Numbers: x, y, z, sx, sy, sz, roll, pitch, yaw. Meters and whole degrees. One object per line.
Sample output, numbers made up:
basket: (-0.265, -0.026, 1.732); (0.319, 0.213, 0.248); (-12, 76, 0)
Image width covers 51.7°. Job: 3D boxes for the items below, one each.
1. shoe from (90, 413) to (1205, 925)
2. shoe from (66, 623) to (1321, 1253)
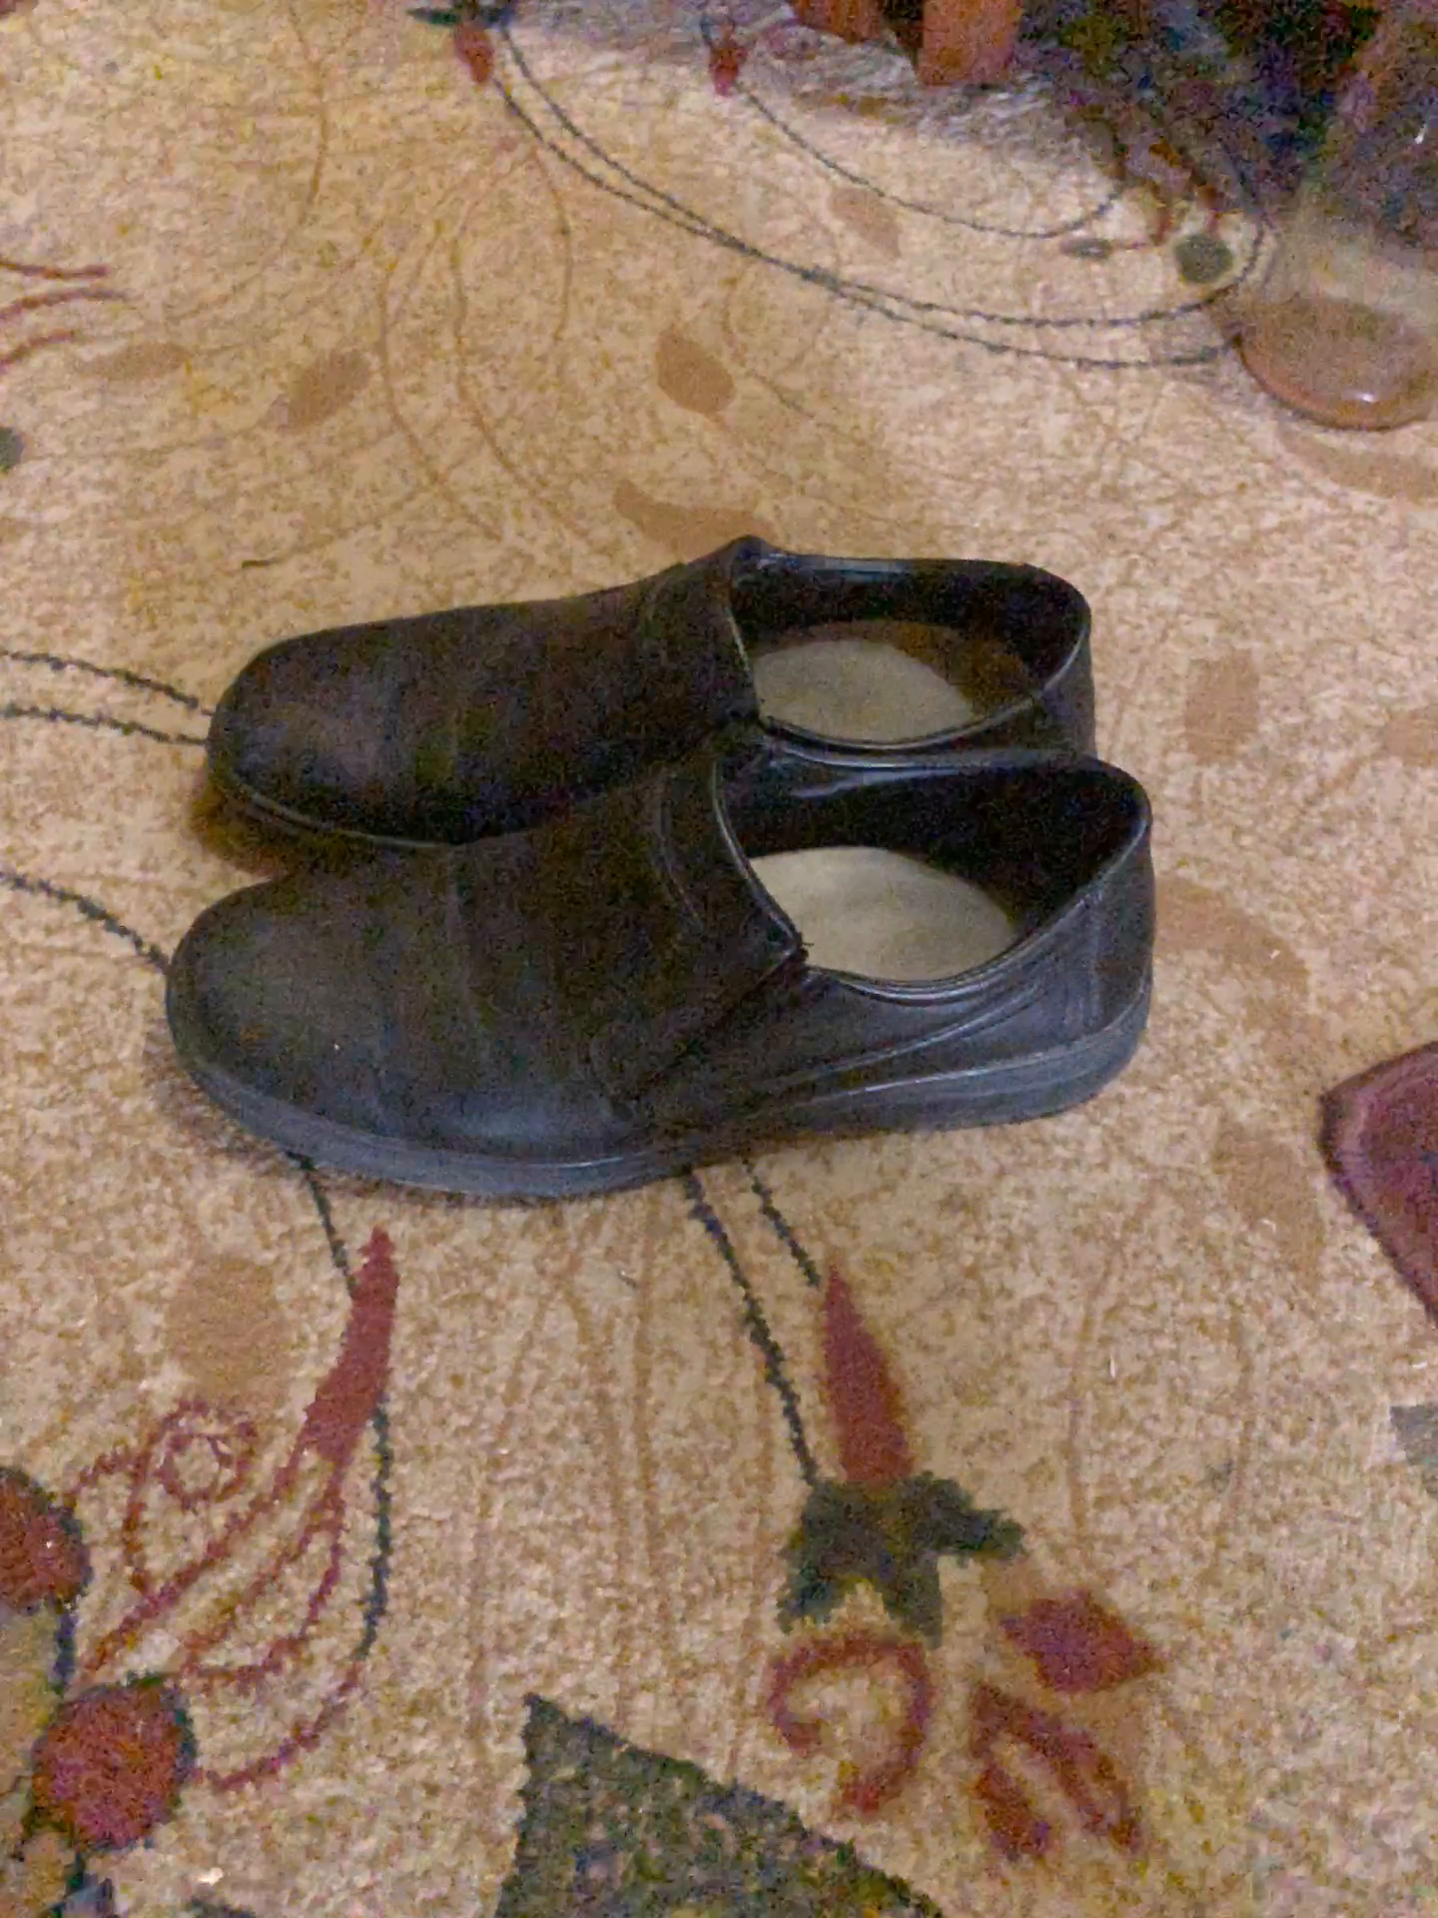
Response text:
shoe: (-0.019, -0.086, 0.455); (0.290, 0.099, 0.101); (2, 56, -2)
shoe: (-0.009, -0.007, 0.406); (0.290, 0.099, 0.101); (-7, 57, -8)
